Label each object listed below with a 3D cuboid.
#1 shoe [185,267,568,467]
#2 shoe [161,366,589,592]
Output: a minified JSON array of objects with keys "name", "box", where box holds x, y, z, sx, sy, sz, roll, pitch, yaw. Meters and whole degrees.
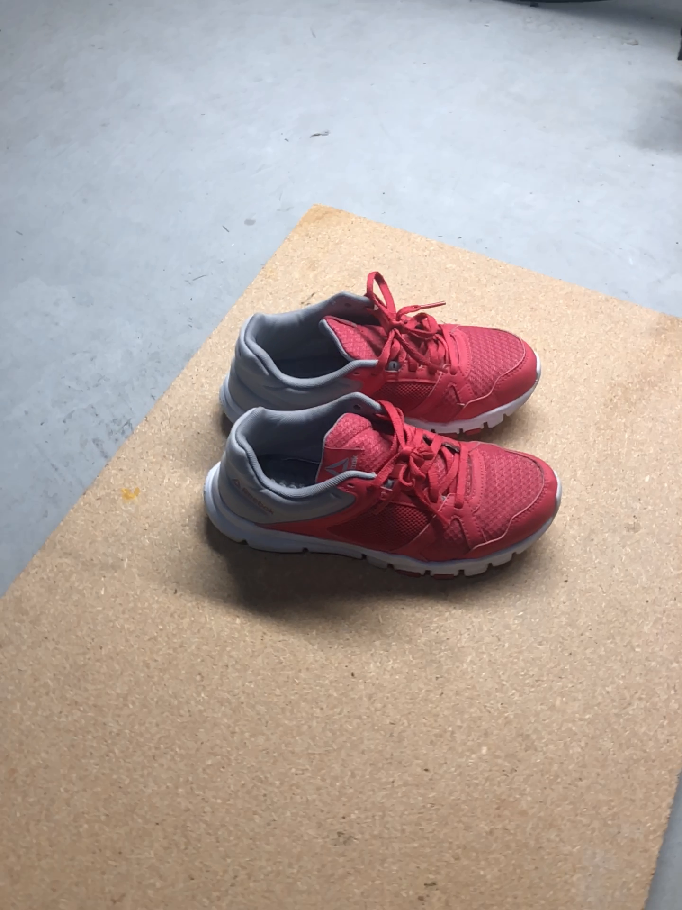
[{"name":"shoe","box":[0.024,-0.069,0.604,0.270,0.100,0.110,-2,56,0]},{"name":"shoe","box":[0.025,0.018,0.544,0.270,0.100,0.100,5,57,5]}]
